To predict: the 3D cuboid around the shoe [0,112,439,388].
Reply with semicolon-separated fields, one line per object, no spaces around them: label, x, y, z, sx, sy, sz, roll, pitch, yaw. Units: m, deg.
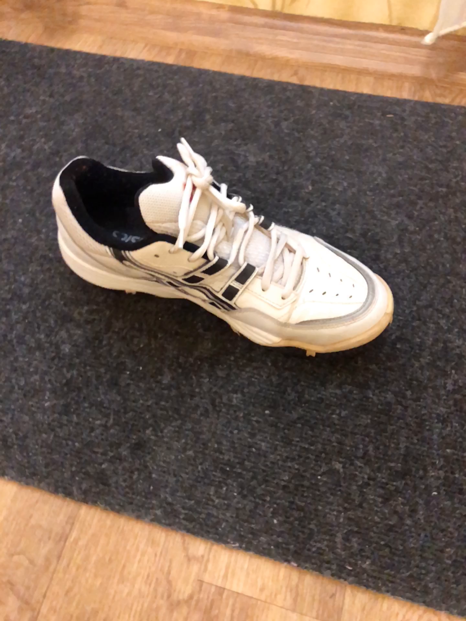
shoe;-0.014;-0.047;0.380;0.280;0.100;0.100;15;62;12
